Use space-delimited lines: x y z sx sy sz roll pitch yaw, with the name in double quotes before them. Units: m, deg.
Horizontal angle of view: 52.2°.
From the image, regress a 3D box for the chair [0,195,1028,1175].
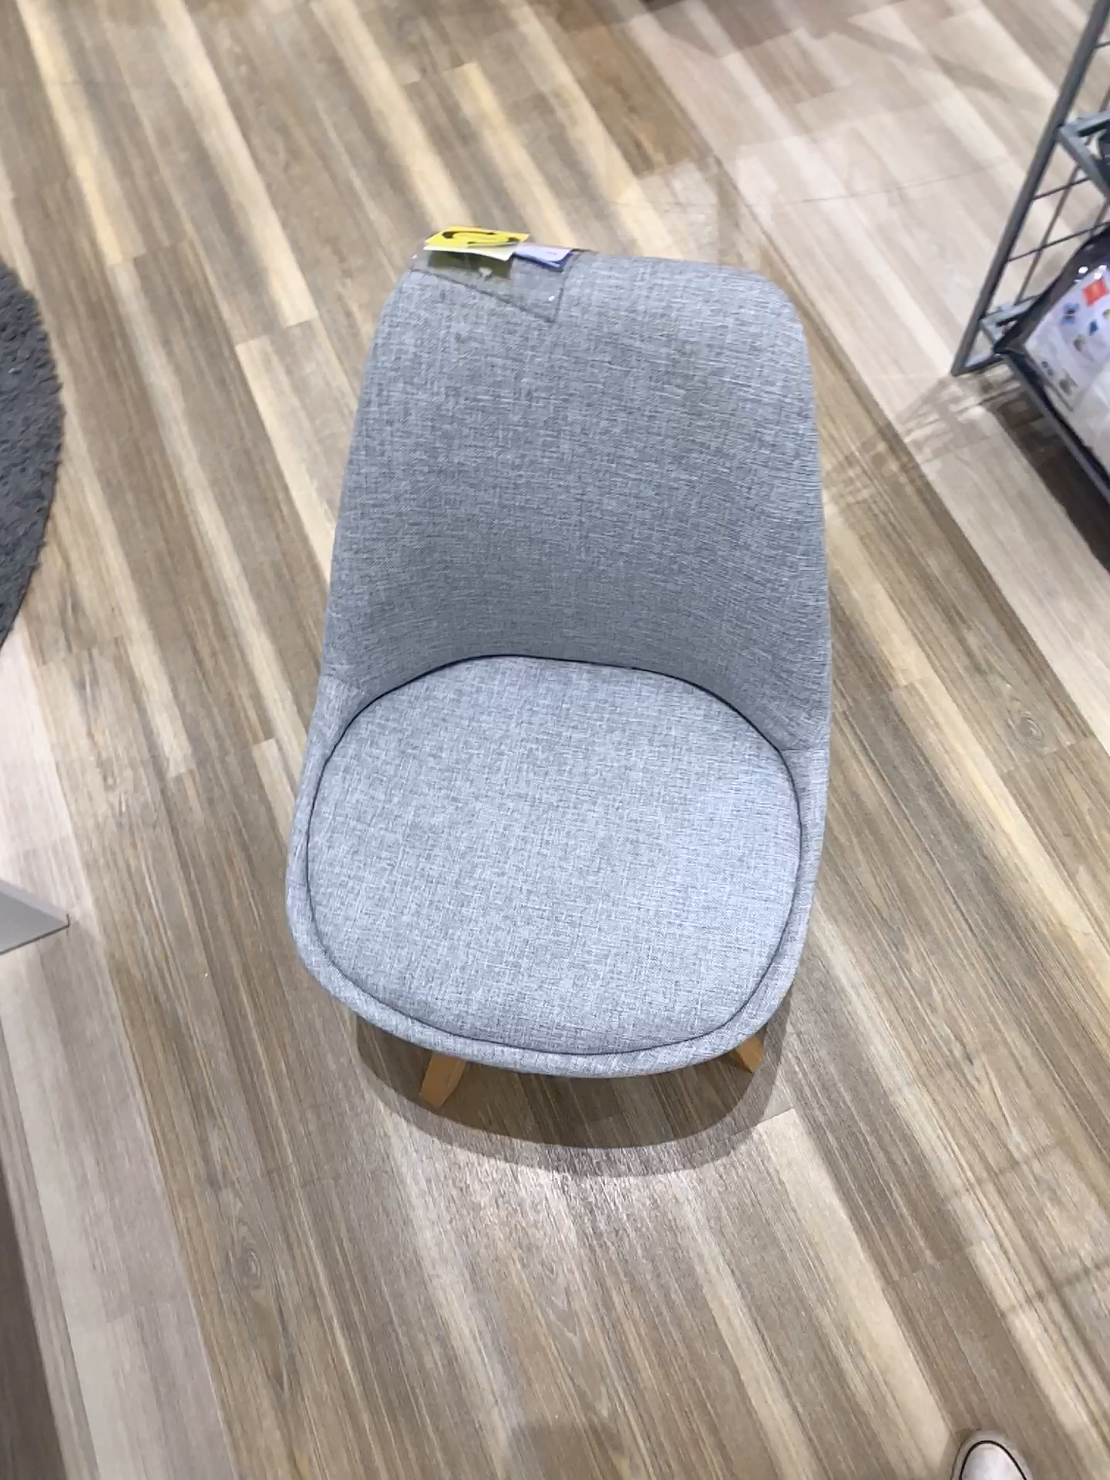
"chair" 0.022 0.068 1.025 0.513 0.859 0.516 7 68 7
